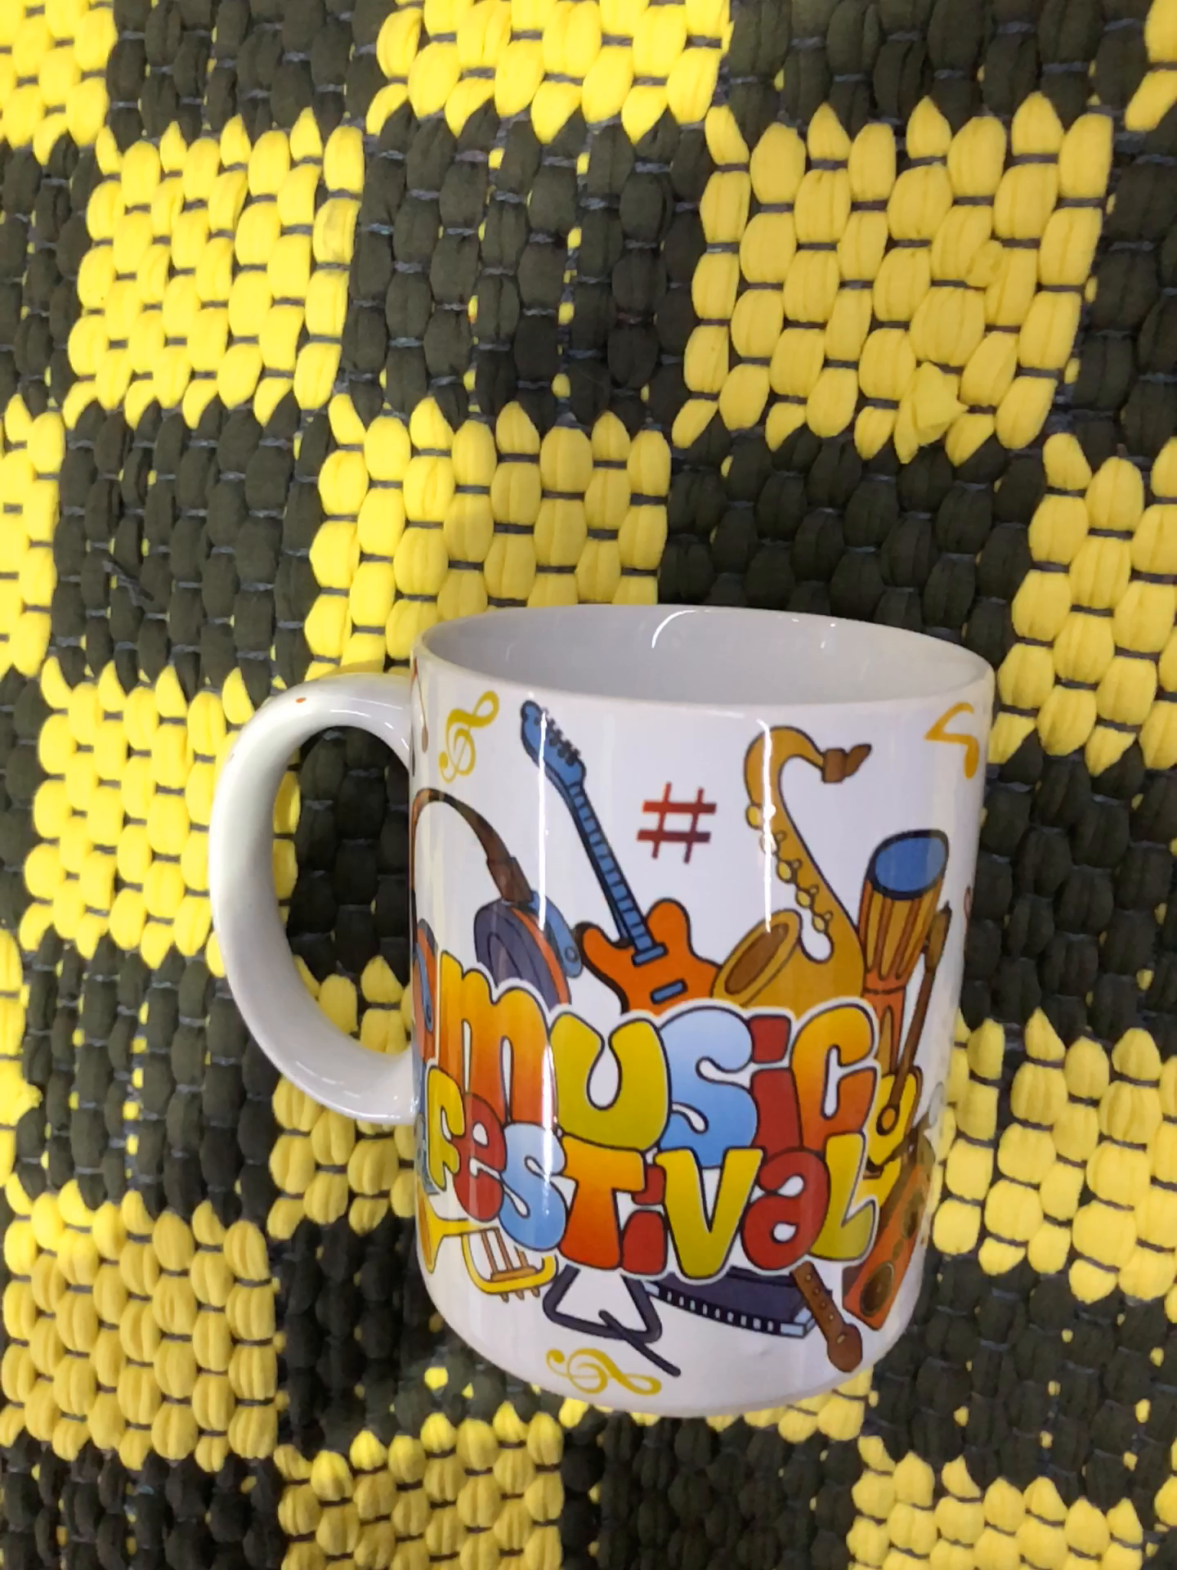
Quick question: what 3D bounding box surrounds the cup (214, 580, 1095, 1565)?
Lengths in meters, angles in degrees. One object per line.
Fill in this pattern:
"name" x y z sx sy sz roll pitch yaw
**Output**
"cup" 0.007 0.026 0.195 0.100 0.070 0.100 9 105 36
